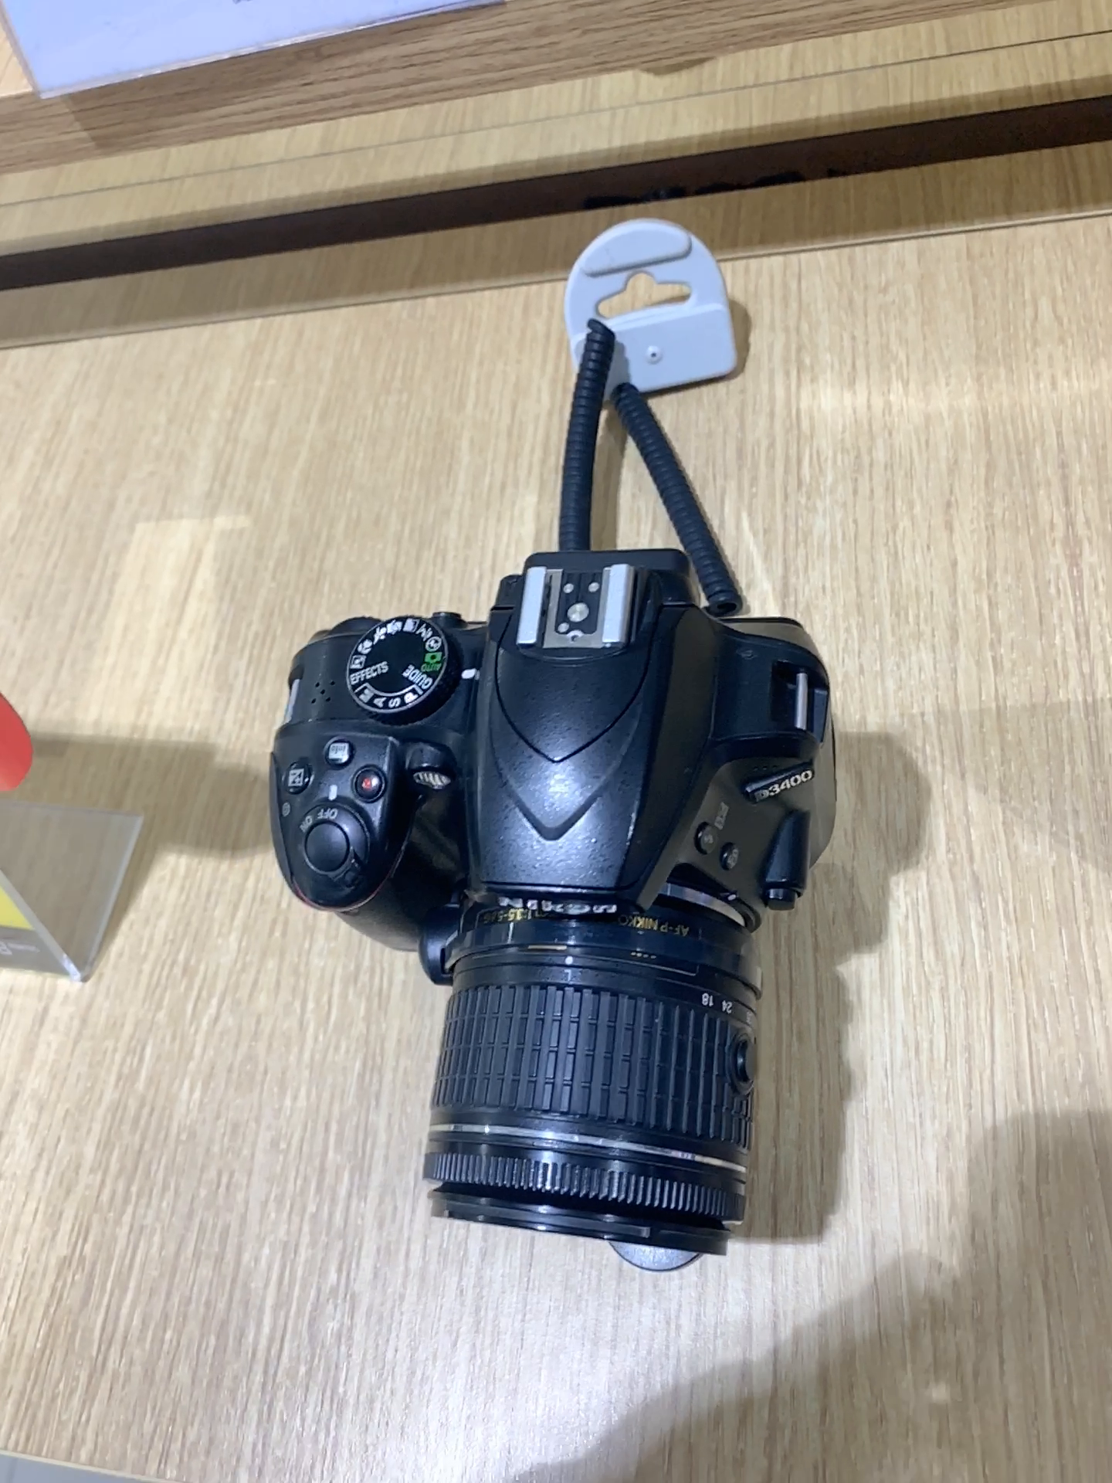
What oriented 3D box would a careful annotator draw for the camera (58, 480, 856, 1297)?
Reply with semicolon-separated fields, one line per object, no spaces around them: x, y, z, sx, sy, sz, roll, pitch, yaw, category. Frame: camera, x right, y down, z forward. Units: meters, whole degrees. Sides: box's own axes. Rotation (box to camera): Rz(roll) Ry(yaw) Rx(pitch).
-0.004;0.033;0.233;0.120;0.090;0.130;-2;62;15;camera
